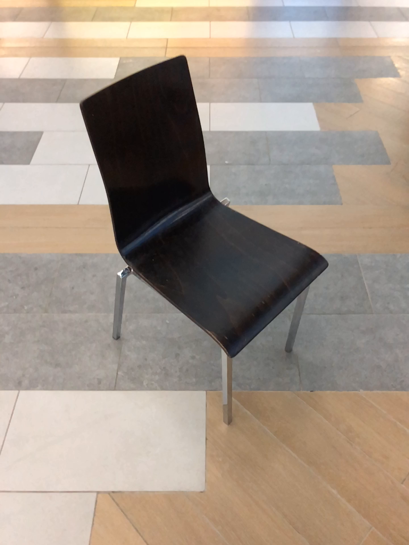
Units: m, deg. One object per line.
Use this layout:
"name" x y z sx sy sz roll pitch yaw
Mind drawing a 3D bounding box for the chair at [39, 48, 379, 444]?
"chair" 0.004 -0.033 1.229 0.543 0.847 0.434 35 58 27
